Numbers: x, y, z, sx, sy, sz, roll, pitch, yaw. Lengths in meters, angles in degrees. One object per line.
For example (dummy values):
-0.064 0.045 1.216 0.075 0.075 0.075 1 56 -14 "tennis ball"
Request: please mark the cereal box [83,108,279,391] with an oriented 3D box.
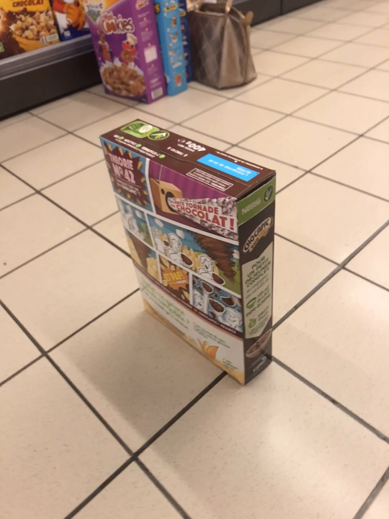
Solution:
-0.007 -0.005 0.489 0.200 0.278 0.060 29 54 35 "cereal box"
